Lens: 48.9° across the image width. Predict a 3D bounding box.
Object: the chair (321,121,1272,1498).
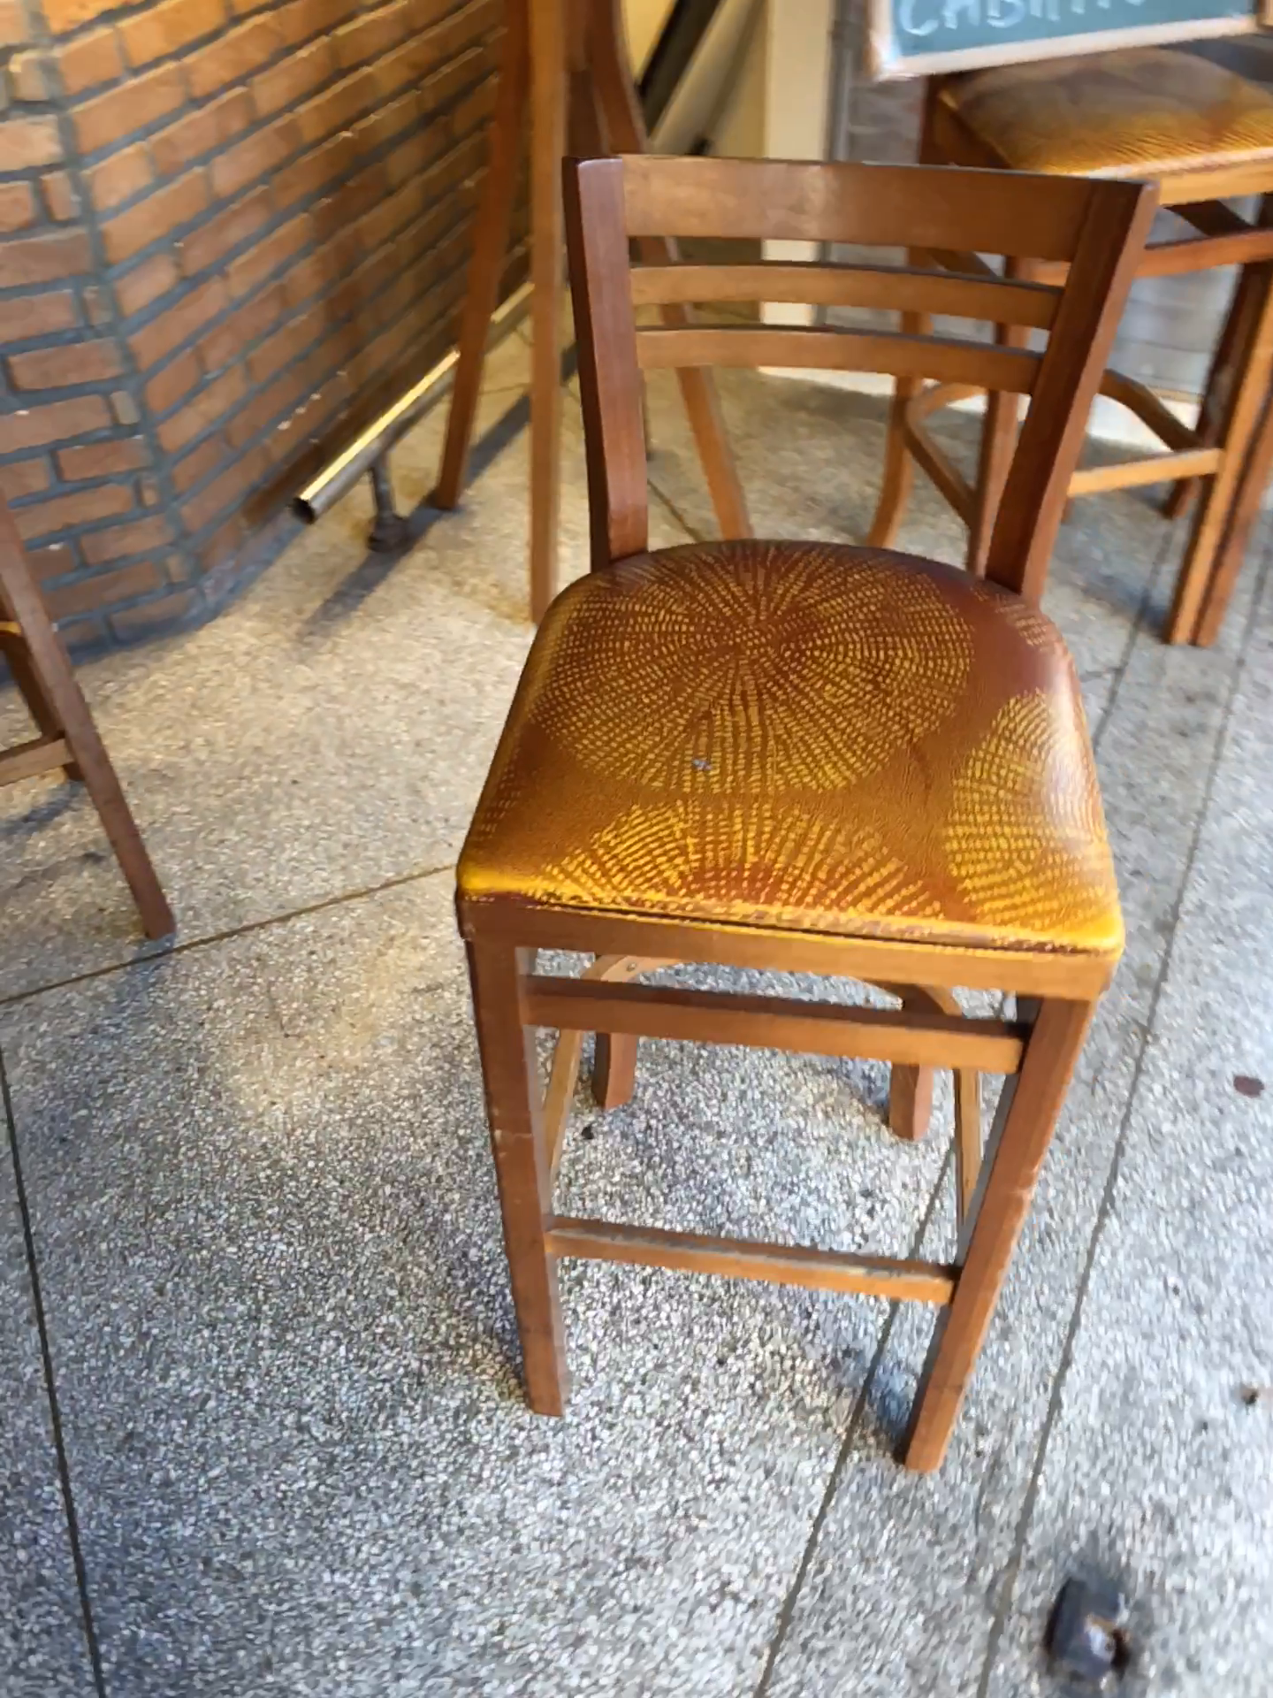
[{"bbox_3d":[0.110,0.051,1.061,0.400,0.973,0.433,6,45,8],"label":"chair"}]
